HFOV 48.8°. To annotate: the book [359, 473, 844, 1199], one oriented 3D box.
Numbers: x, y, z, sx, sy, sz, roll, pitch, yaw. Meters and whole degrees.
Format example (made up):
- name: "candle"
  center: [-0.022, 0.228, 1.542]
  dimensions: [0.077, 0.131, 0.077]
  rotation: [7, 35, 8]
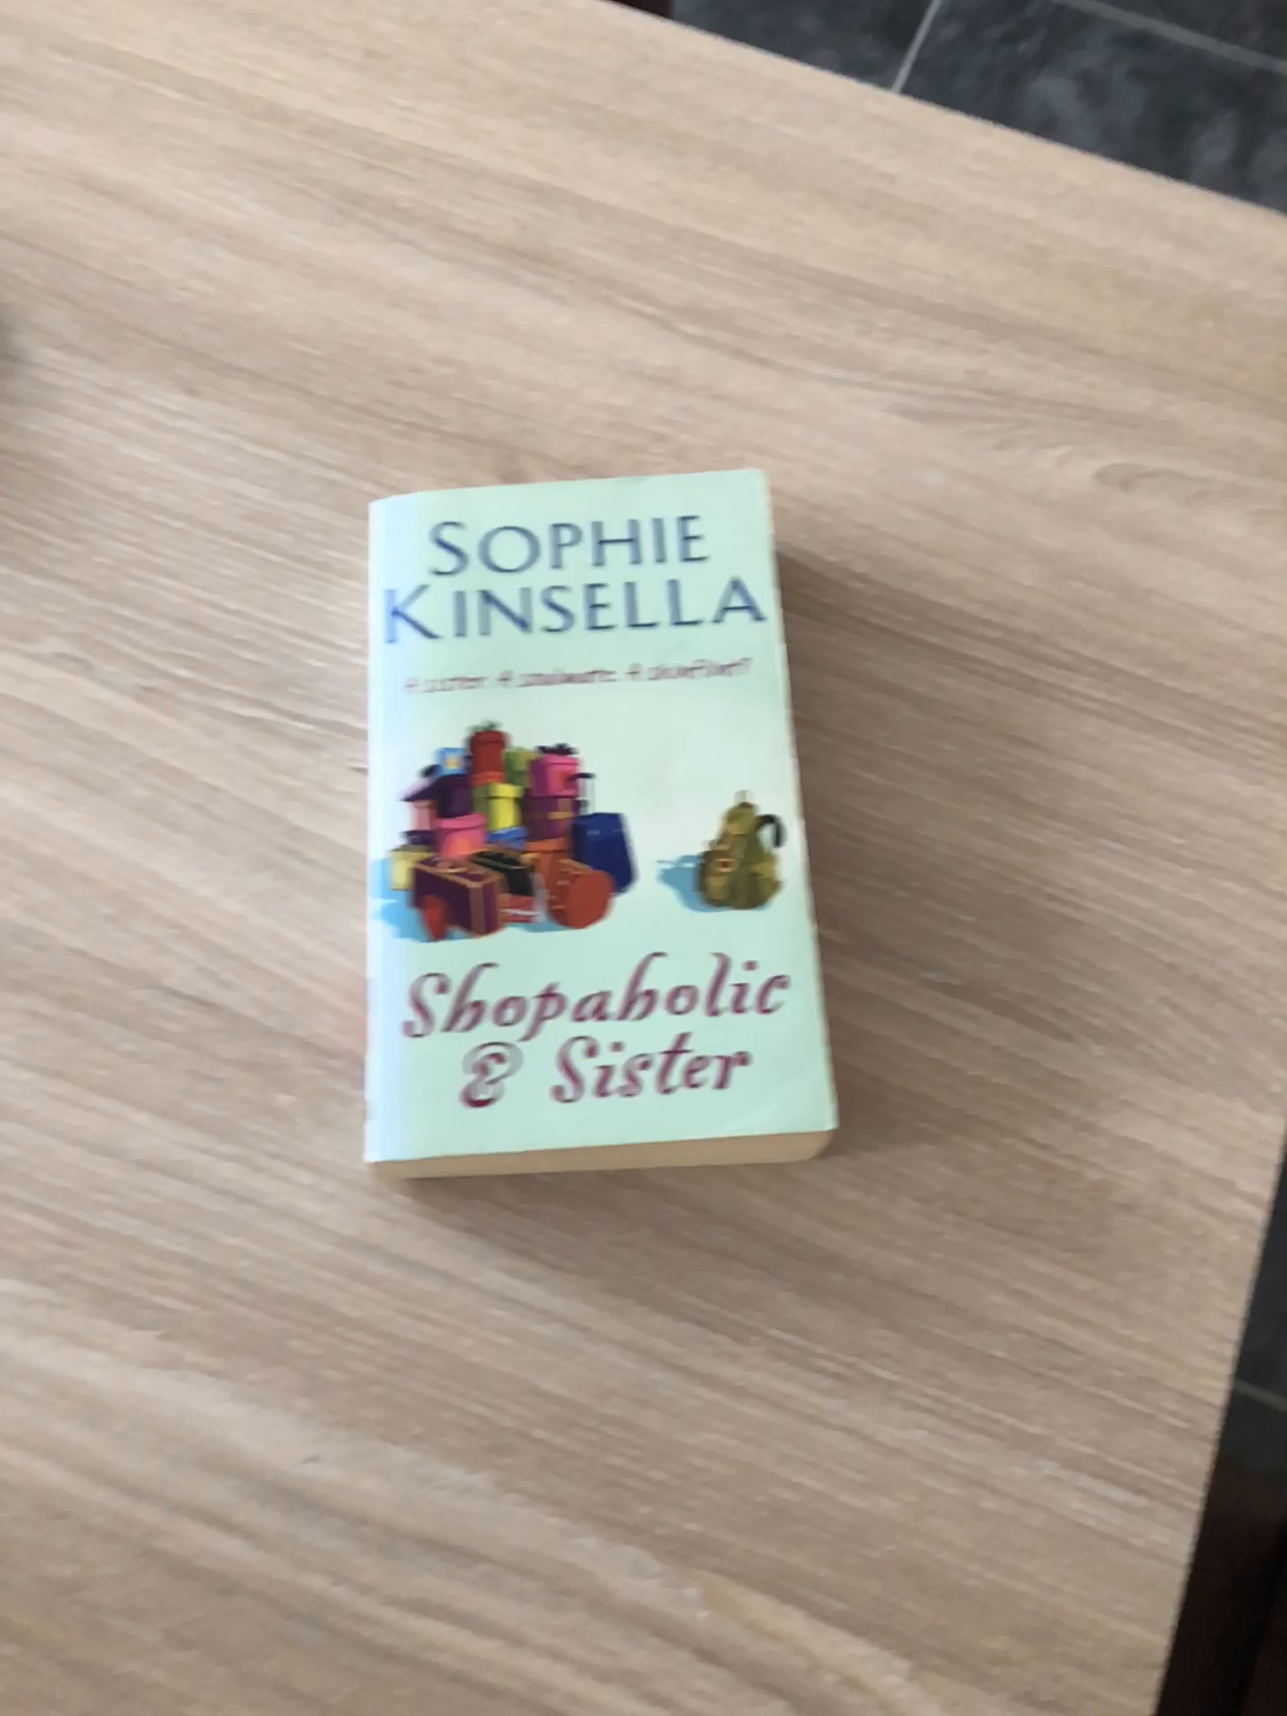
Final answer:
- name: "book"
  center: [-0.014, -0.011, 0.360]
  dimensions: [0.107, 0.032, 0.180]
  rotation: [-3, 69, -2]
